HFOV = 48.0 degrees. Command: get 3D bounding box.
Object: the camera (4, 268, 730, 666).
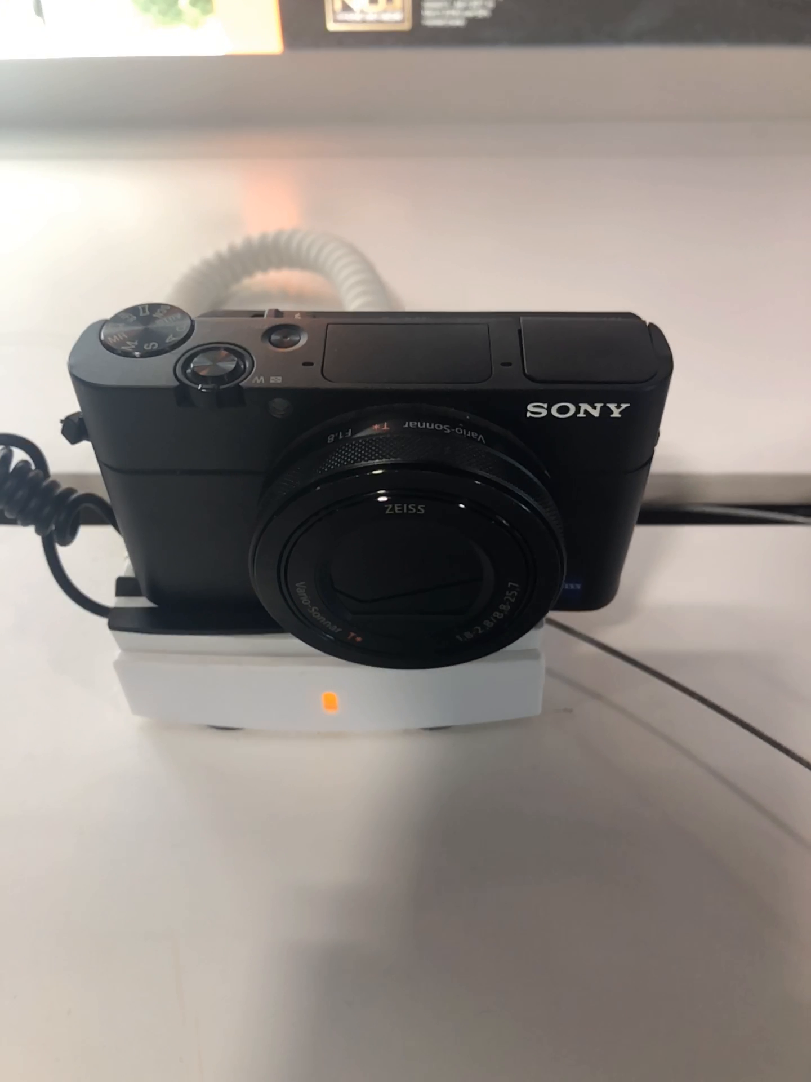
[{"bbox_3d":[-0.005,-0.011,0.160,0.101,0.063,0.032,1,46,2],"label":"camera"}]
